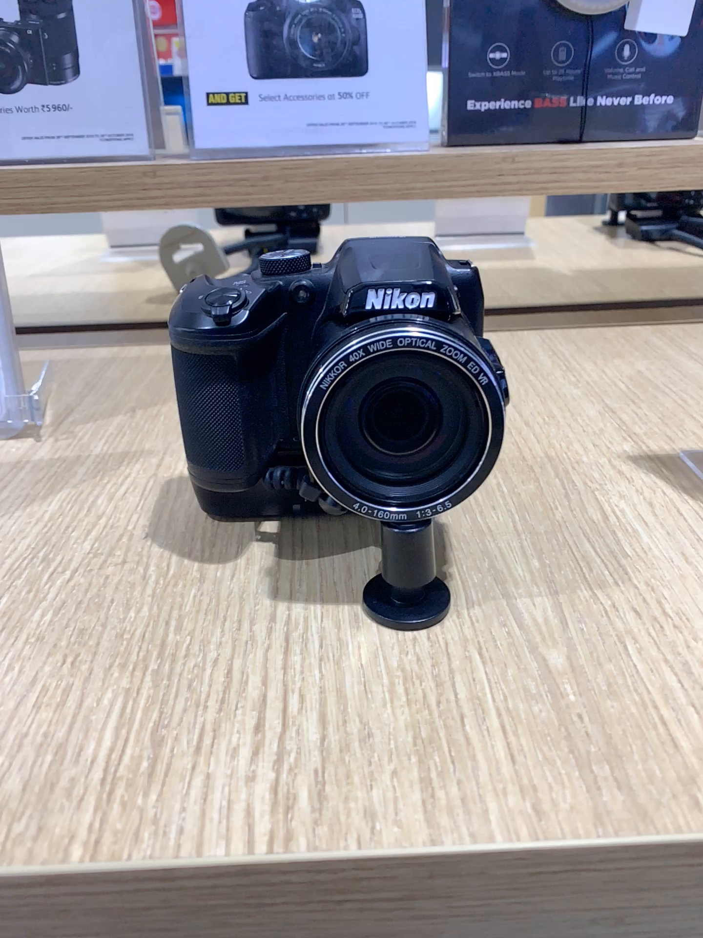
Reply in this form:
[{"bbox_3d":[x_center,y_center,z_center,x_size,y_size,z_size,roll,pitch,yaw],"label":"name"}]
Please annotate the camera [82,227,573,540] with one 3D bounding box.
[{"bbox_3d":[-0.006,-0.031,0.229,0.120,0.070,0.080,-2,26,-1],"label":"camera"}]
